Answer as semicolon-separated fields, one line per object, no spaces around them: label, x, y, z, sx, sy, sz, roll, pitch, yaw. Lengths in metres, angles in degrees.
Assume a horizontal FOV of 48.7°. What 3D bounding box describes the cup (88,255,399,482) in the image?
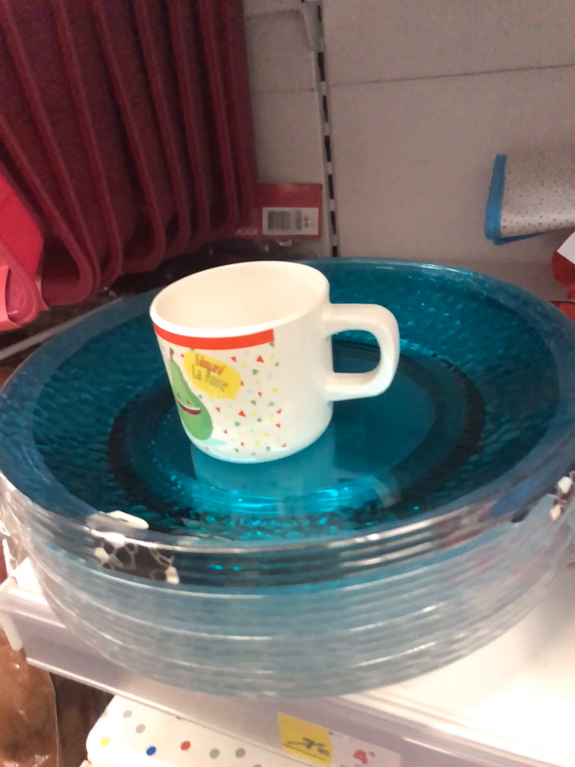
cup;-0.011;-0.011;0.266;0.102;0.059;0.077;3;32;18
